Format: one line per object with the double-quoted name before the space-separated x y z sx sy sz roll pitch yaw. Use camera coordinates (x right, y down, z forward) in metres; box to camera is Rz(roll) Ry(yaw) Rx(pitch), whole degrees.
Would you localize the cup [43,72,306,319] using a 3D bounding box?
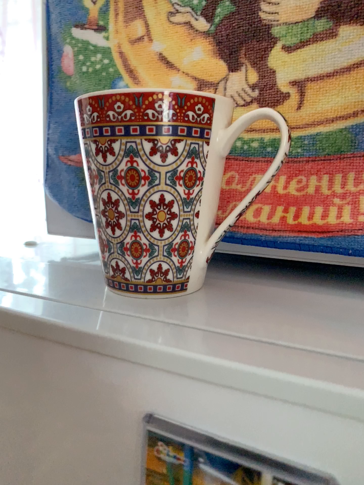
"cup" 0.003 -0.028 0.219 0.124 0.101 0.090 4 8 18
